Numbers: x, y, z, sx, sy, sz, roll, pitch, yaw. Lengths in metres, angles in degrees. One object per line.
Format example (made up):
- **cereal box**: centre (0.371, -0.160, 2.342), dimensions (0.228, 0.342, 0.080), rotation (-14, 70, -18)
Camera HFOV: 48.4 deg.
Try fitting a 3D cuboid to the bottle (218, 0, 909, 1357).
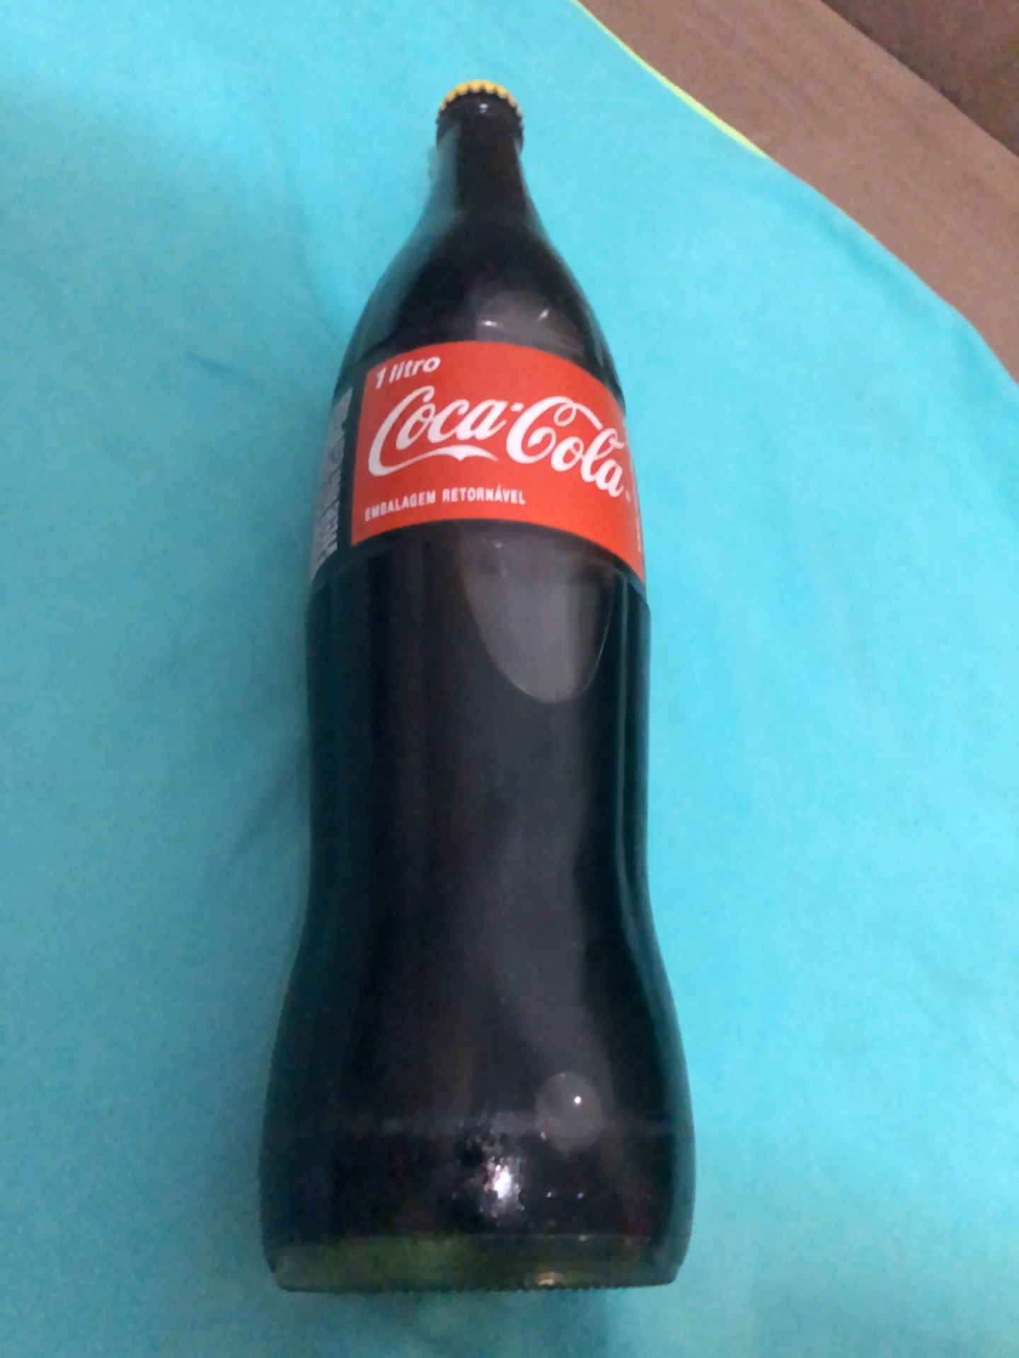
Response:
- **bottle**: centre (0.003, -0.042, 0.281), dimensions (0.100, 0.070, 0.361), rotation (10, 60, -21)
